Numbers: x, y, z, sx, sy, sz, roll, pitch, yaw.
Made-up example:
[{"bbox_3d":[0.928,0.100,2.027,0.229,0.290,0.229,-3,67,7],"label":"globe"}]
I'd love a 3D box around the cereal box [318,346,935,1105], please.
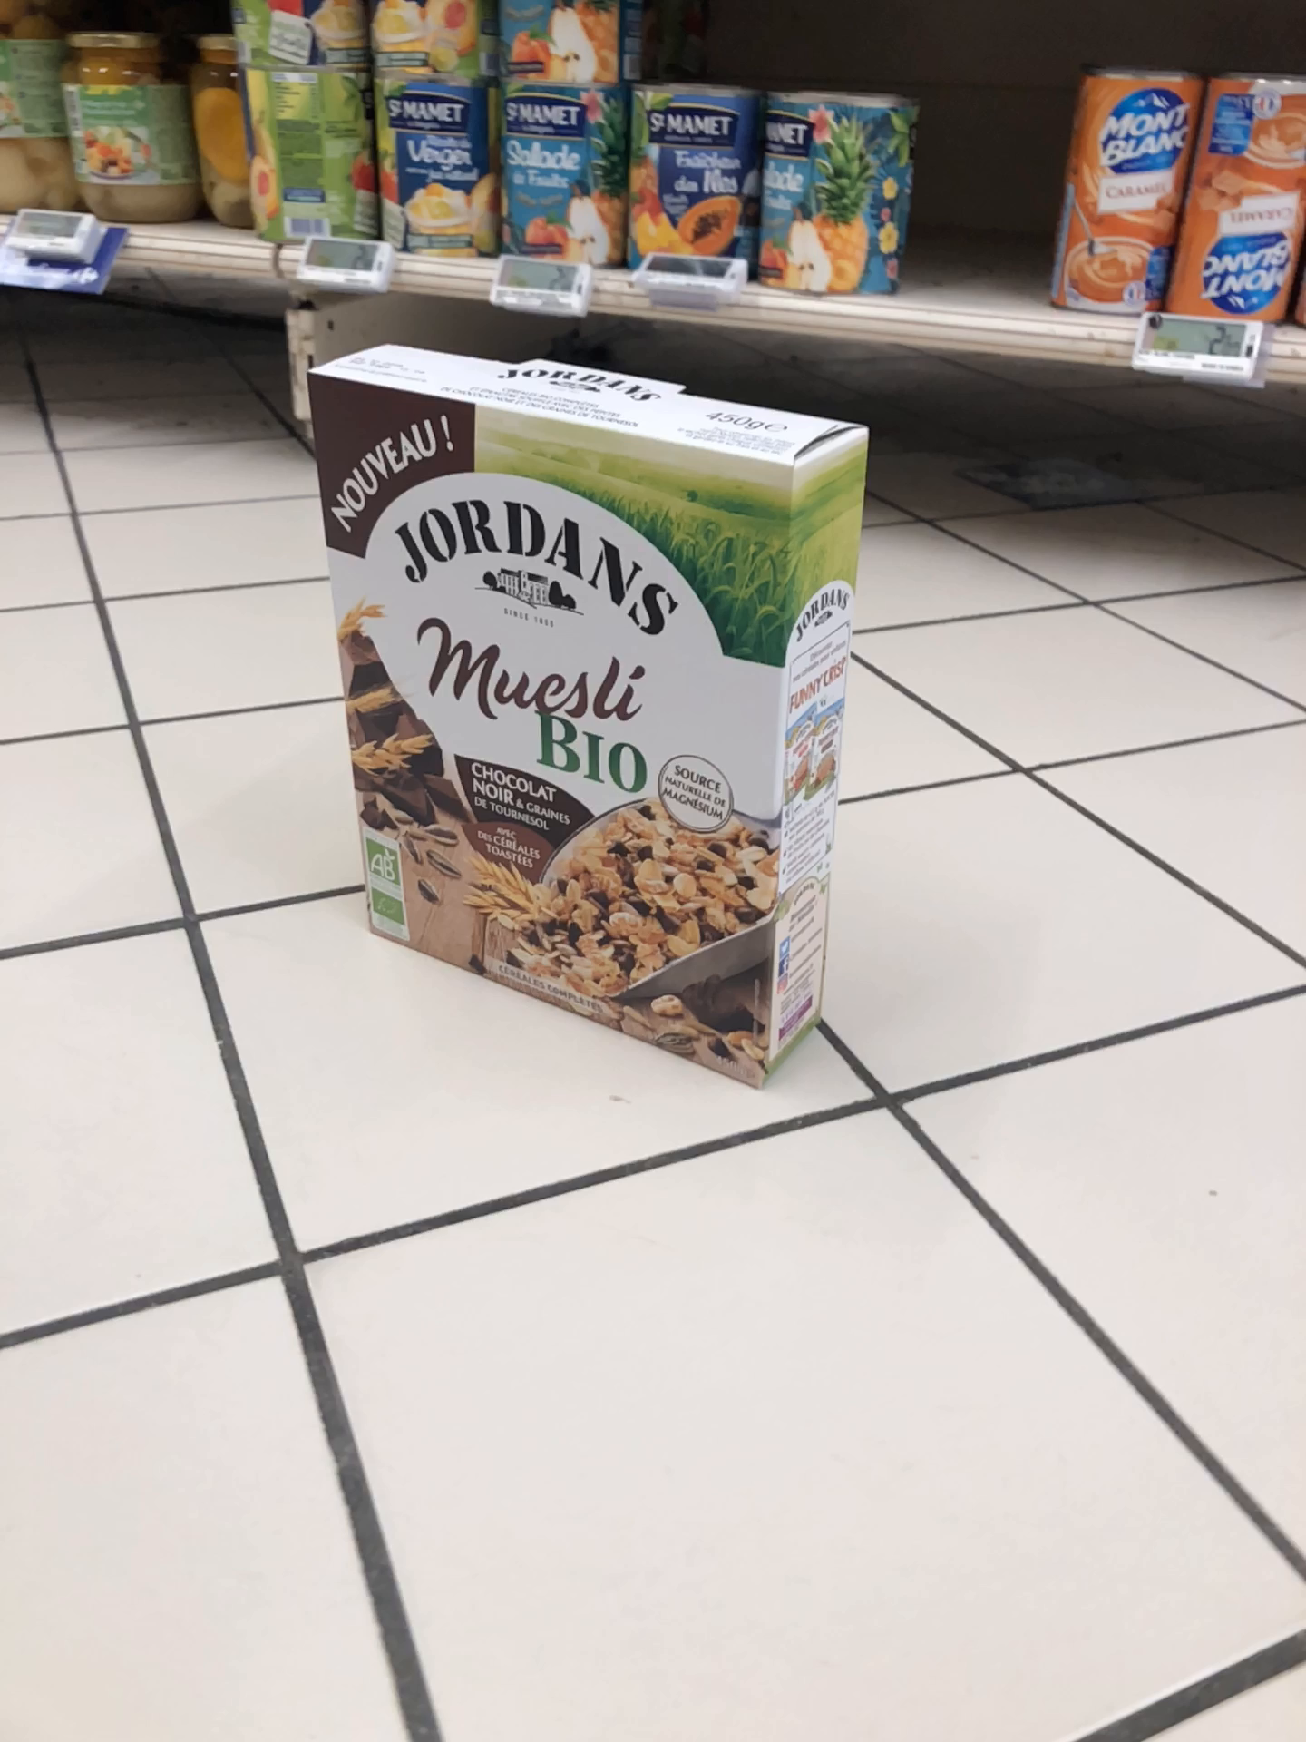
[{"bbox_3d":[-0.016,-0.052,0.483,0.190,0.209,0.050,19,34,28],"label":"cereal box"}]
